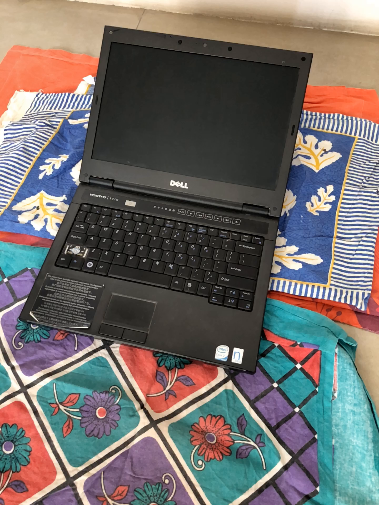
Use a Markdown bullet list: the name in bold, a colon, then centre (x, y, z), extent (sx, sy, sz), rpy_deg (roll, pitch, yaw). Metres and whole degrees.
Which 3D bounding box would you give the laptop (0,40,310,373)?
- **laptop**: centre (-0.022, -0.091, 0.572), extent (0.305, 0.125, 0.421), rpy_deg (11, 61, 8)
